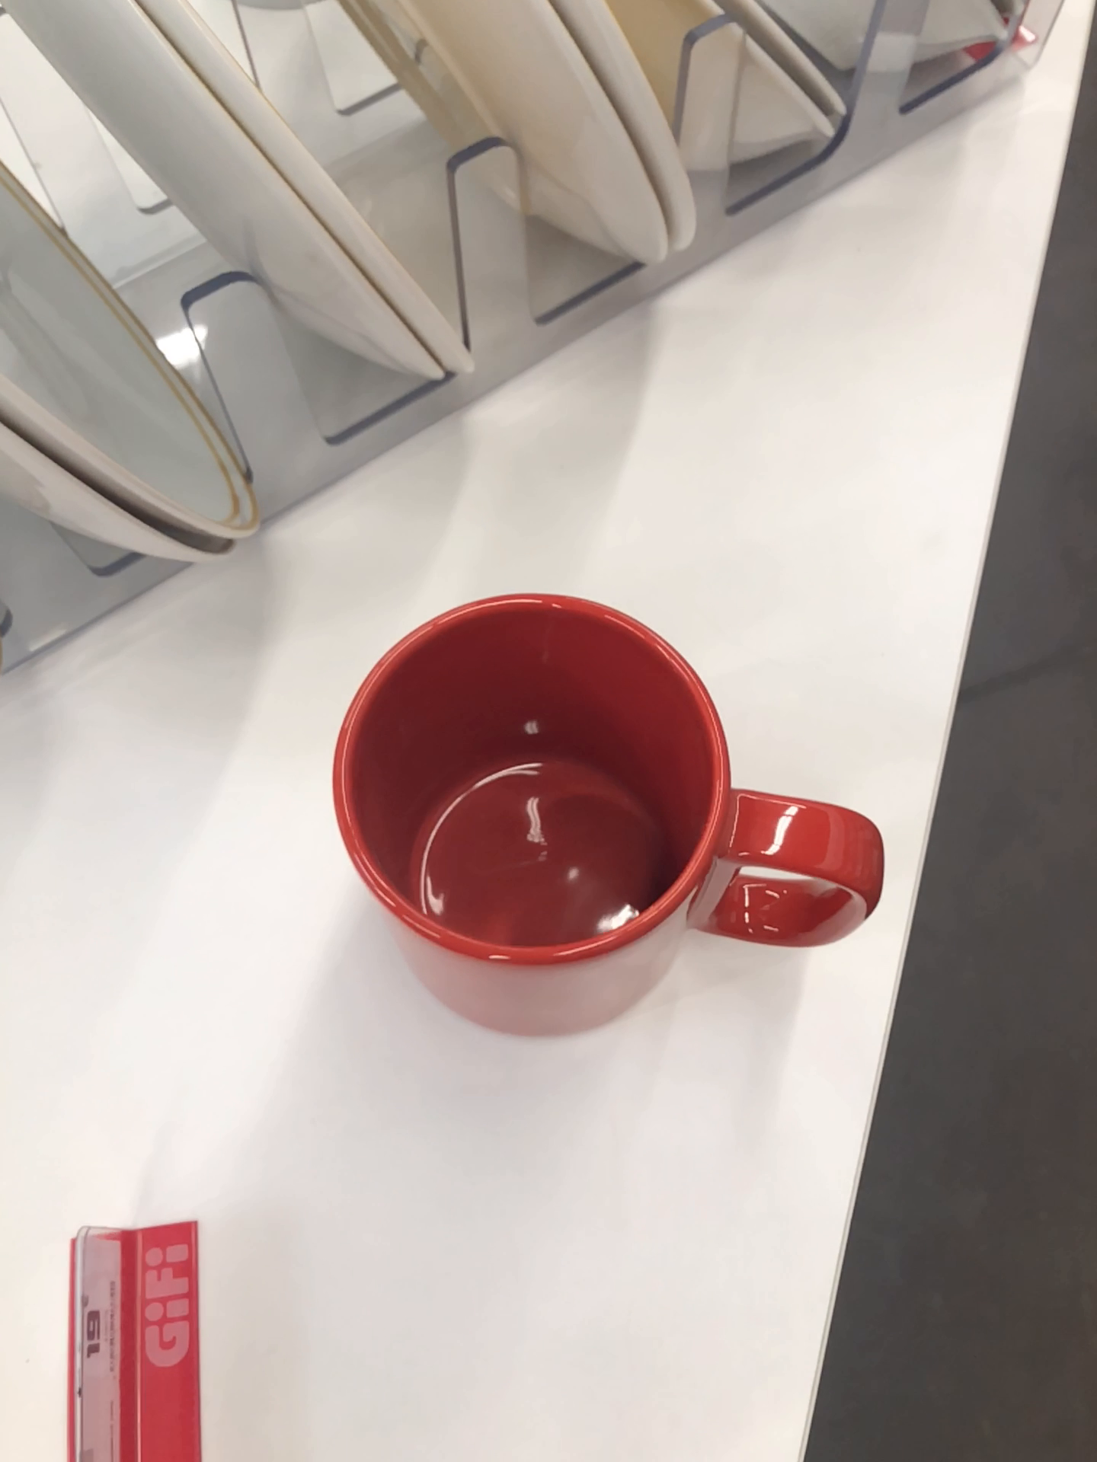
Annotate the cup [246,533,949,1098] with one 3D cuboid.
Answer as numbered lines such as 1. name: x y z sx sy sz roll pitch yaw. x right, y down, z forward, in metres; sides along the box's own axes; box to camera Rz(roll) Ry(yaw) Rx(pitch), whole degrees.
1. cup: 0.014 0.023 0.281 0.129 0.082 0.091 8 66 4
